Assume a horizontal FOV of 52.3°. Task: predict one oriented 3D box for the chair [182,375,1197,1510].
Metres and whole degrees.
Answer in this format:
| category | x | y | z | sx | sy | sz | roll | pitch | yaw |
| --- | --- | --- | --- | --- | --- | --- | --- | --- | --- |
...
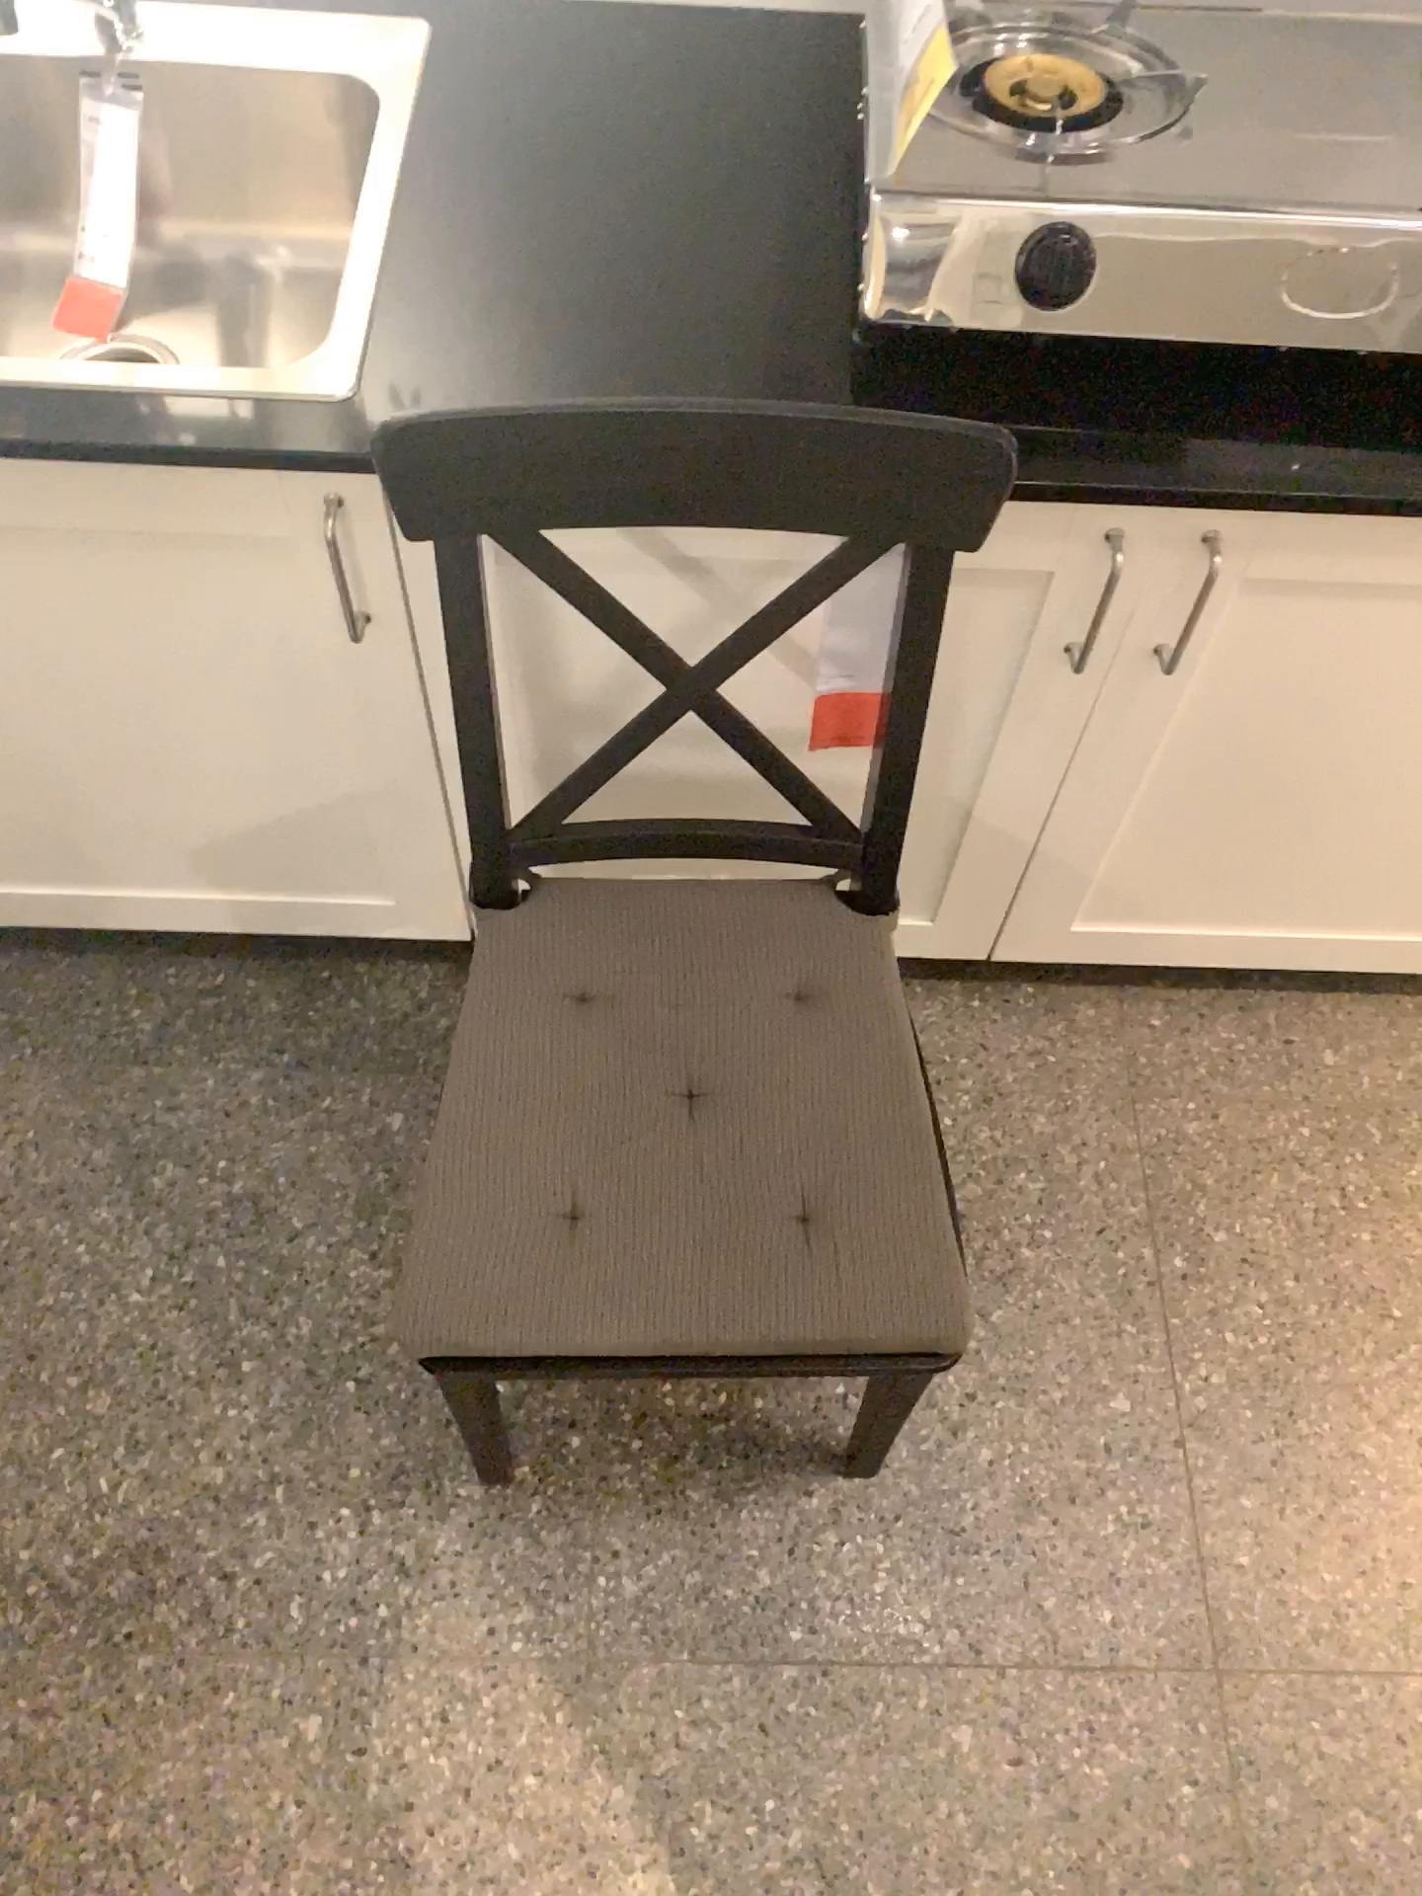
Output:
| category | x | y | z | sx | sy | sz | roll | pitch | yaw |
| --- | --- | --- | --- | --- | --- | --- | --- | --- | --- |
| chair | -0.029 | 0.079 | 1.063 | 0.420 | 0.788 | 0.491 | 0 | 59 | -3 |
